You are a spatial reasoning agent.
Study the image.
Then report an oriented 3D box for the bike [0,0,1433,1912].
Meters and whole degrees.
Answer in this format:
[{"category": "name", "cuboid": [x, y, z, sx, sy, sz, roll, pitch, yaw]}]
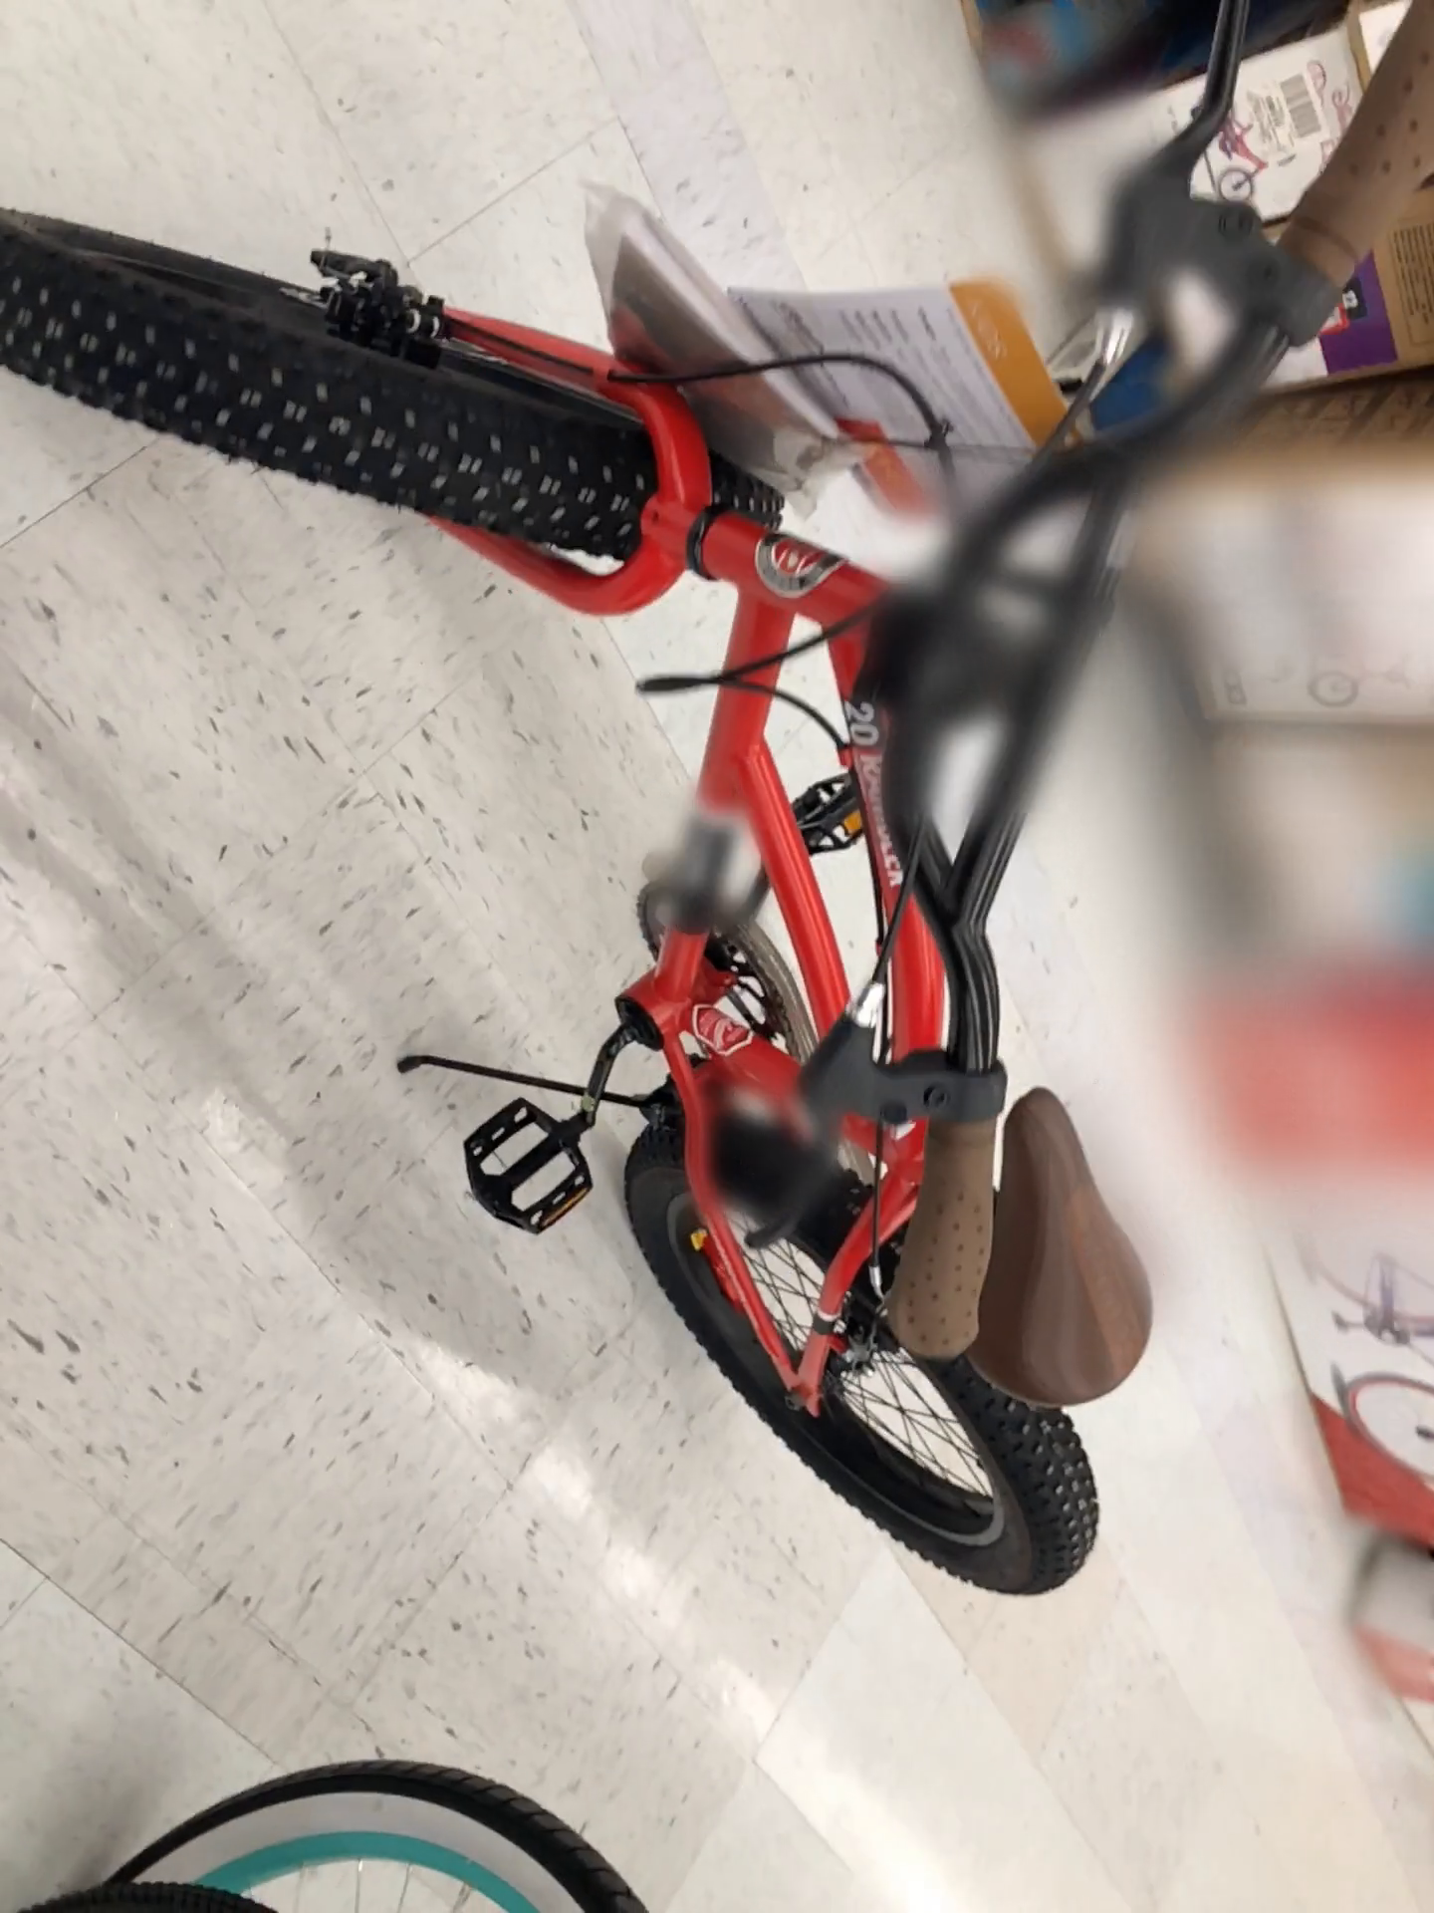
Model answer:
[{"category": "bike", "cuboid": [0.025, 0.084, 1.133, 0.609, 0.968, 1.361, -51, 125, -29]}]
